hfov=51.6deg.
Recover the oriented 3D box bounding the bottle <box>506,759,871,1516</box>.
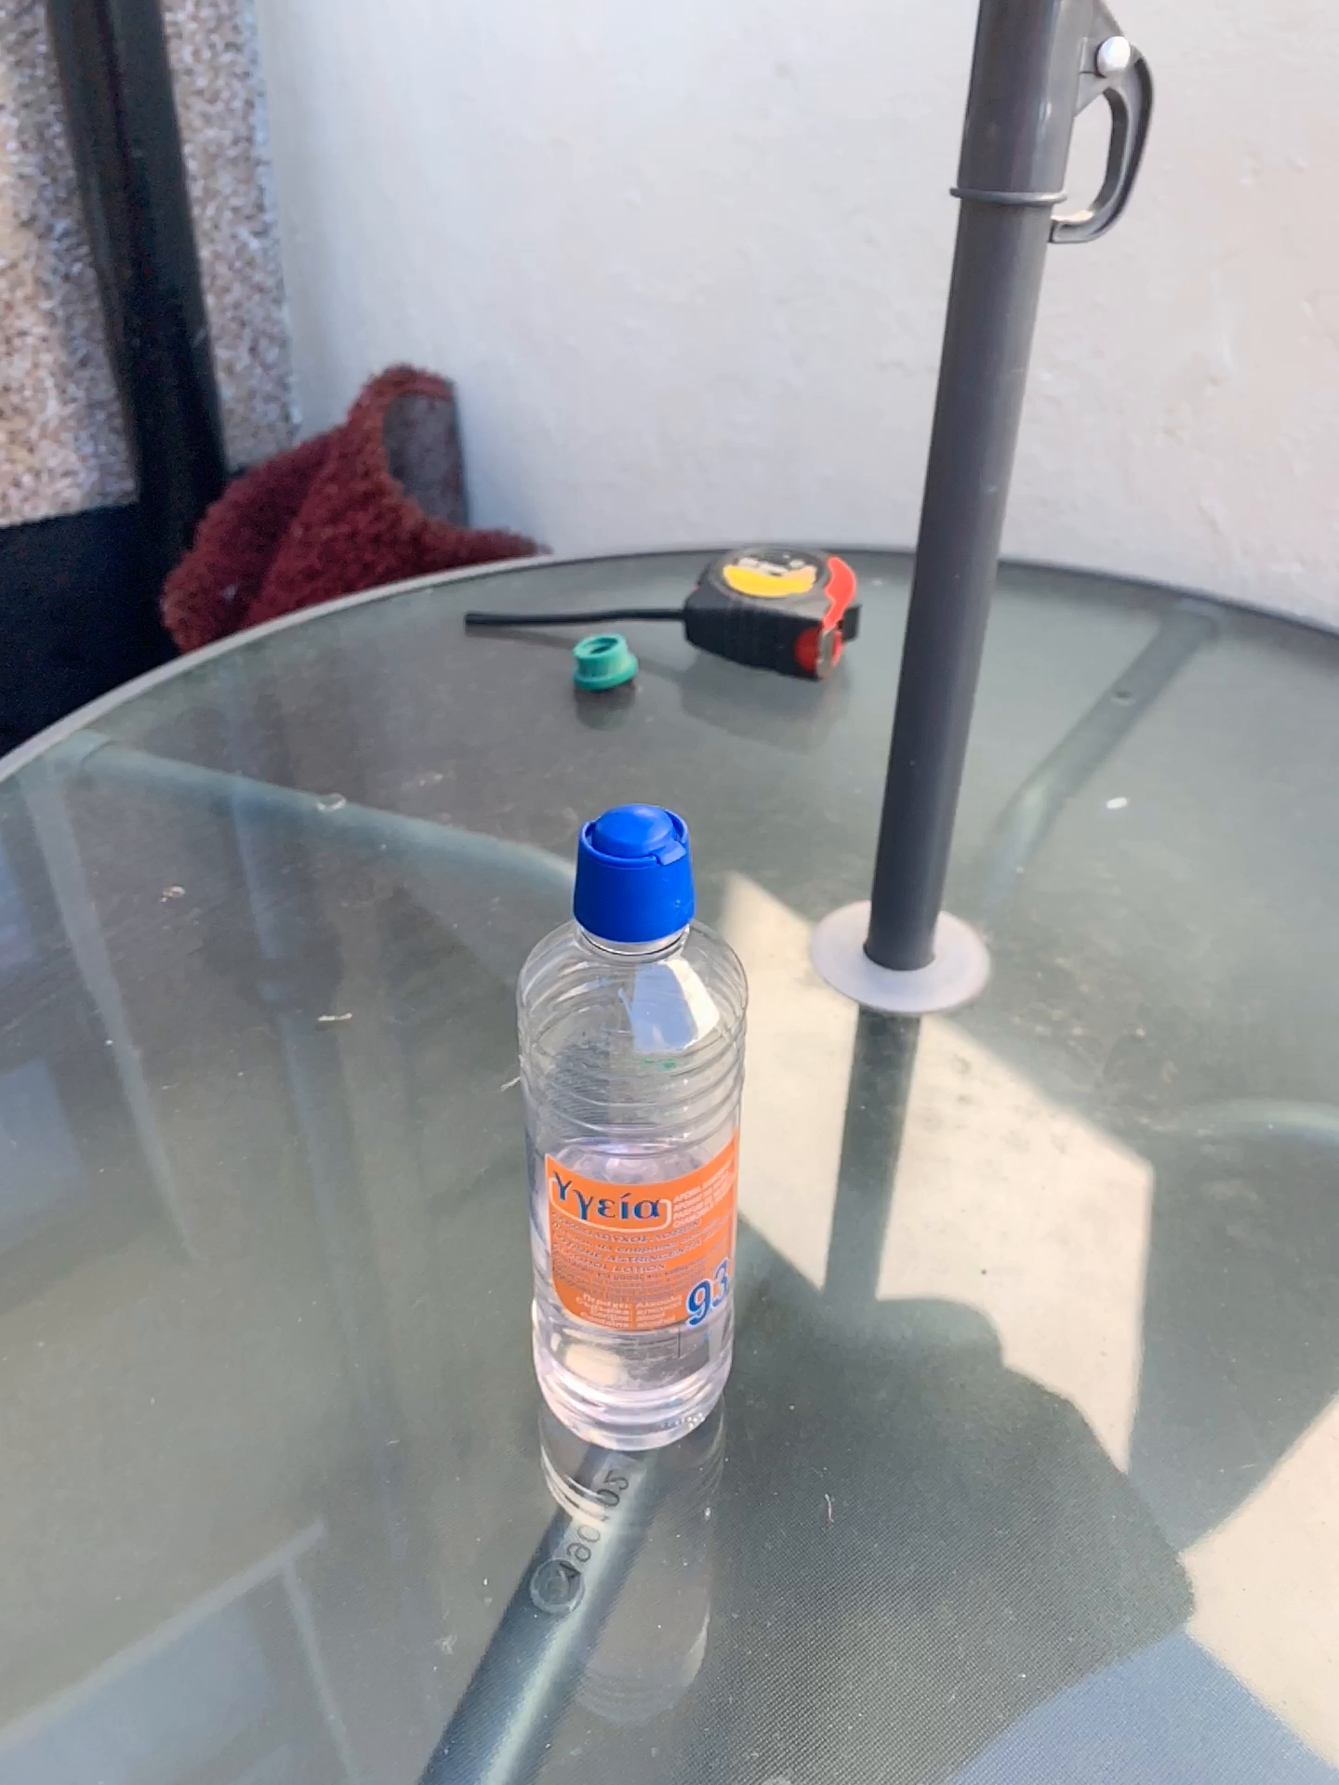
[{"bbox_3d":[-0.002,0.057,0.297,0.060,0.158,0.061,2,33,-1],"label":"bottle"}]
